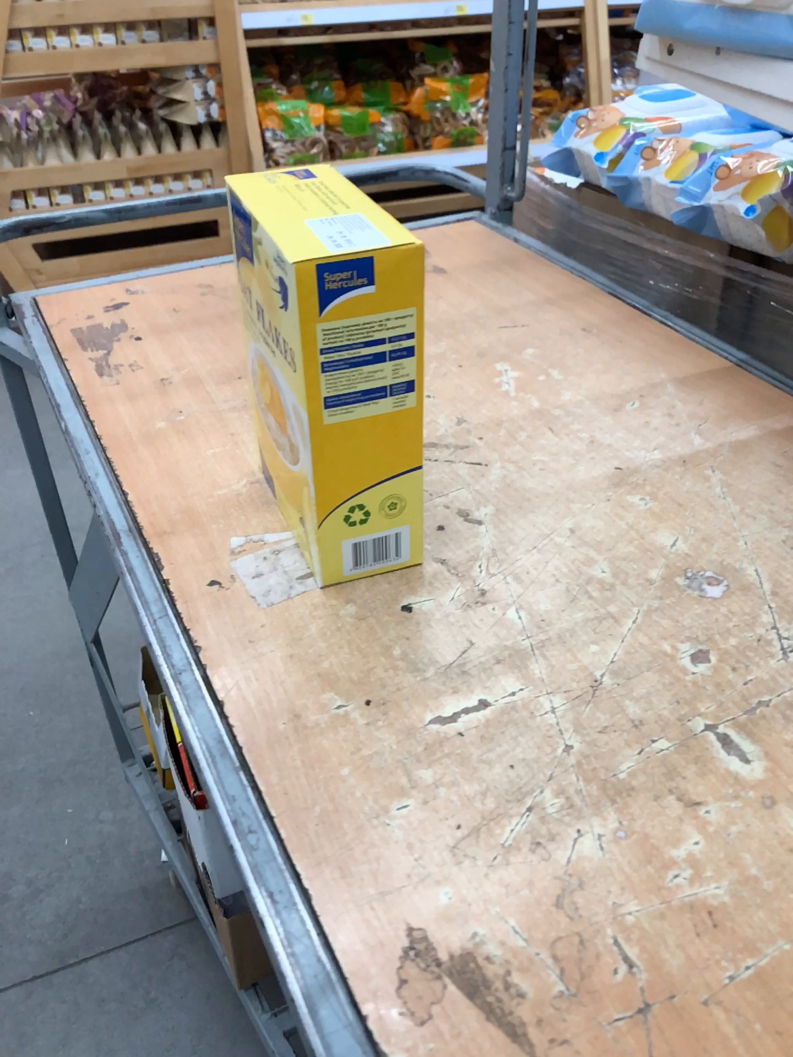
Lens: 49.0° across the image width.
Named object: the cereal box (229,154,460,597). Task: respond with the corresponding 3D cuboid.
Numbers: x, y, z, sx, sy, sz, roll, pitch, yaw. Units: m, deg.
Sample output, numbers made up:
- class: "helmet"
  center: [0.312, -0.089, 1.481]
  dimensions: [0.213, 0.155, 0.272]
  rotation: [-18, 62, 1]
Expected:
- class: "cereal box"
  center: [-0.031, -0.092, 0.506]
  dimensions: [0.080, 0.199, 0.151]
  rotation: [-13, 37, -15]
